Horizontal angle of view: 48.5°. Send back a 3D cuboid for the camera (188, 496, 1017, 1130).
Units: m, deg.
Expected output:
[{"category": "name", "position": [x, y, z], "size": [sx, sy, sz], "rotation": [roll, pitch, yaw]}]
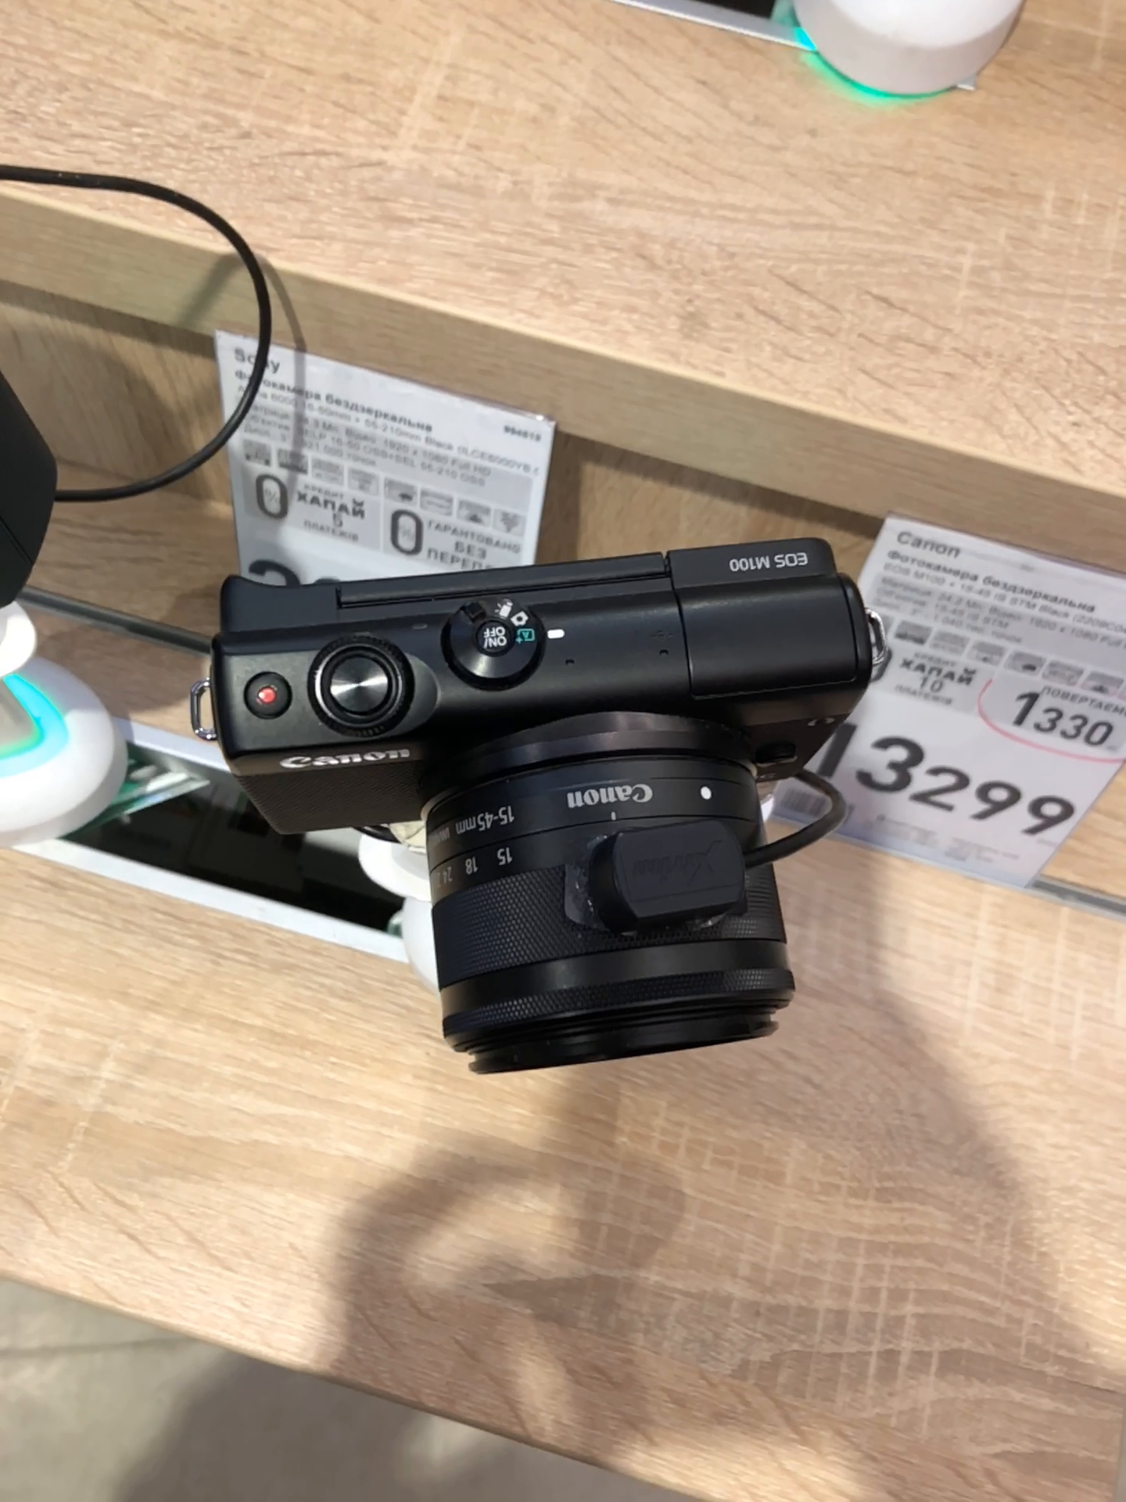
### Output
[{"category": "camera", "position": [0.002, 0.013, 0.214], "size": [0.112, 0.061, 0.082], "rotation": [-7, 72, -6]}]
